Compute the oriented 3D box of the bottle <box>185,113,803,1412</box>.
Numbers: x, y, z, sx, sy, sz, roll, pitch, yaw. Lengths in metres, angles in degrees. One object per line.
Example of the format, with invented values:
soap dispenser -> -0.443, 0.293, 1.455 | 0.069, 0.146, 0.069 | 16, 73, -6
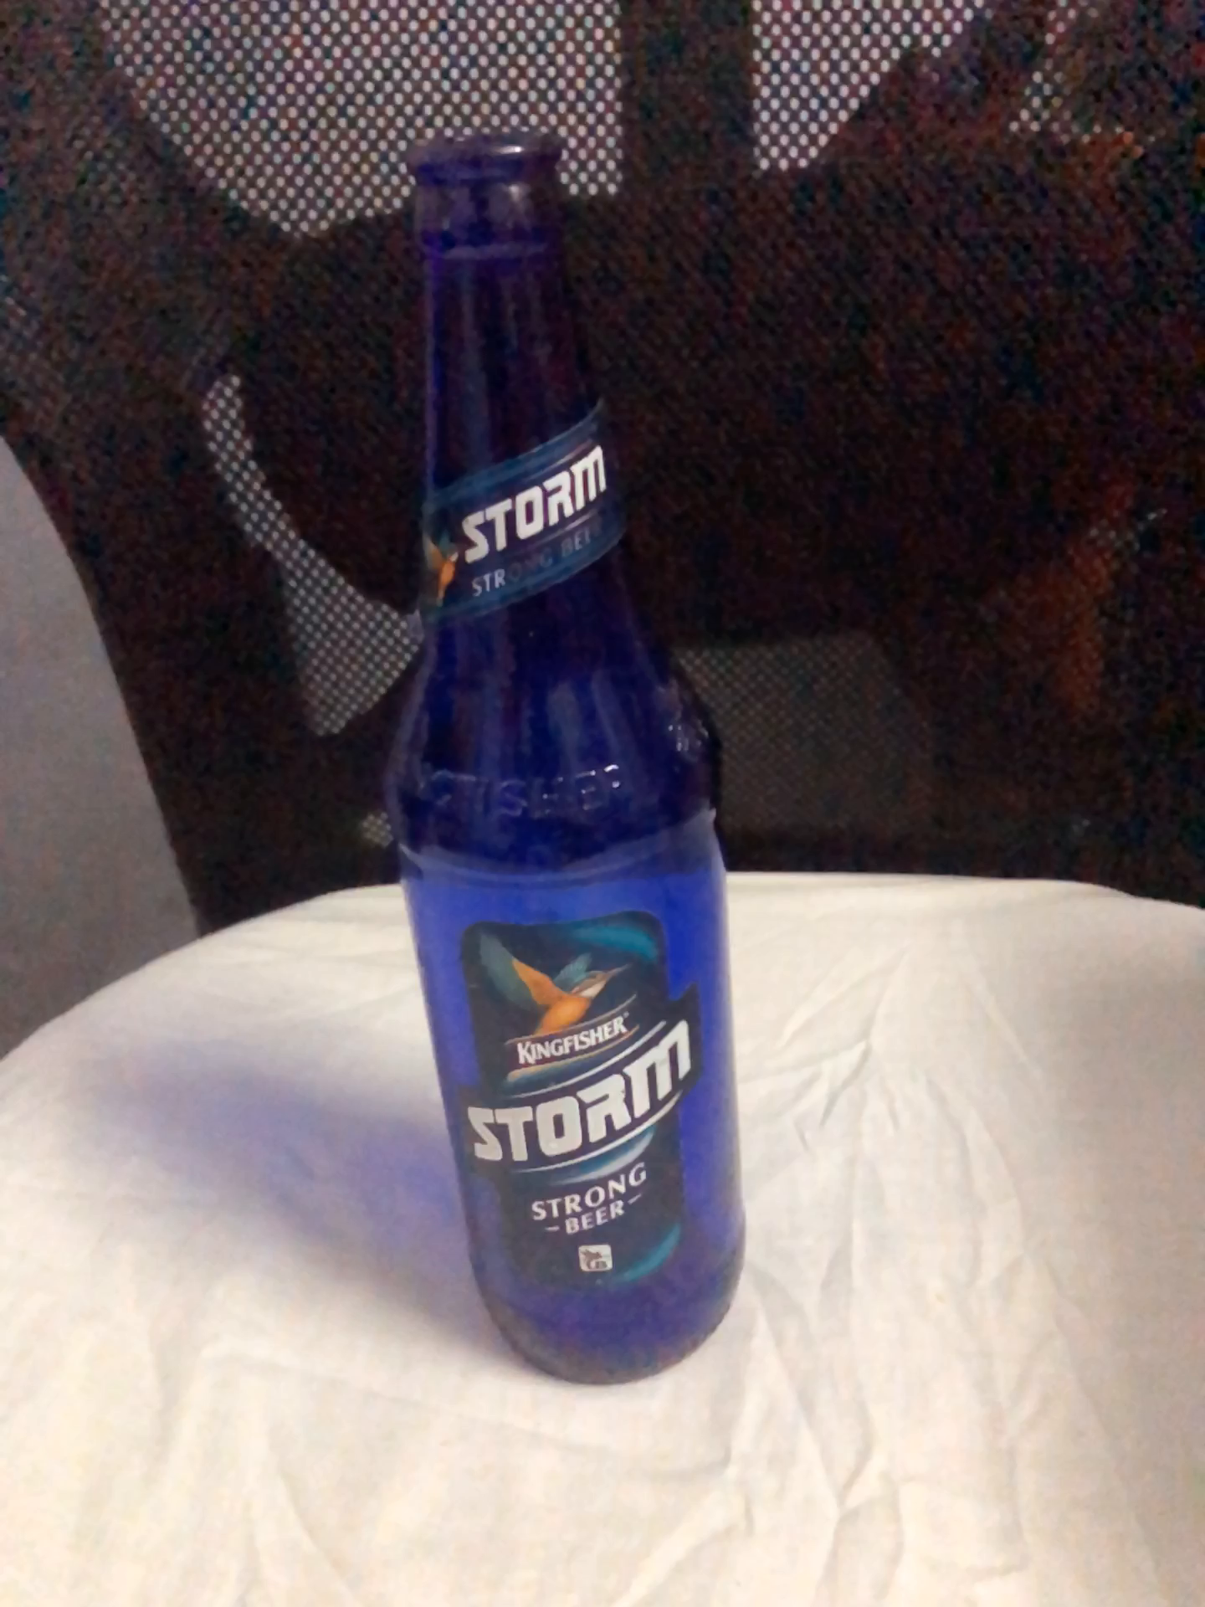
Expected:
bottle -> -0.006, 0.011, 0.270 | 0.080, 0.259, 0.070 | -1, 32, 4
